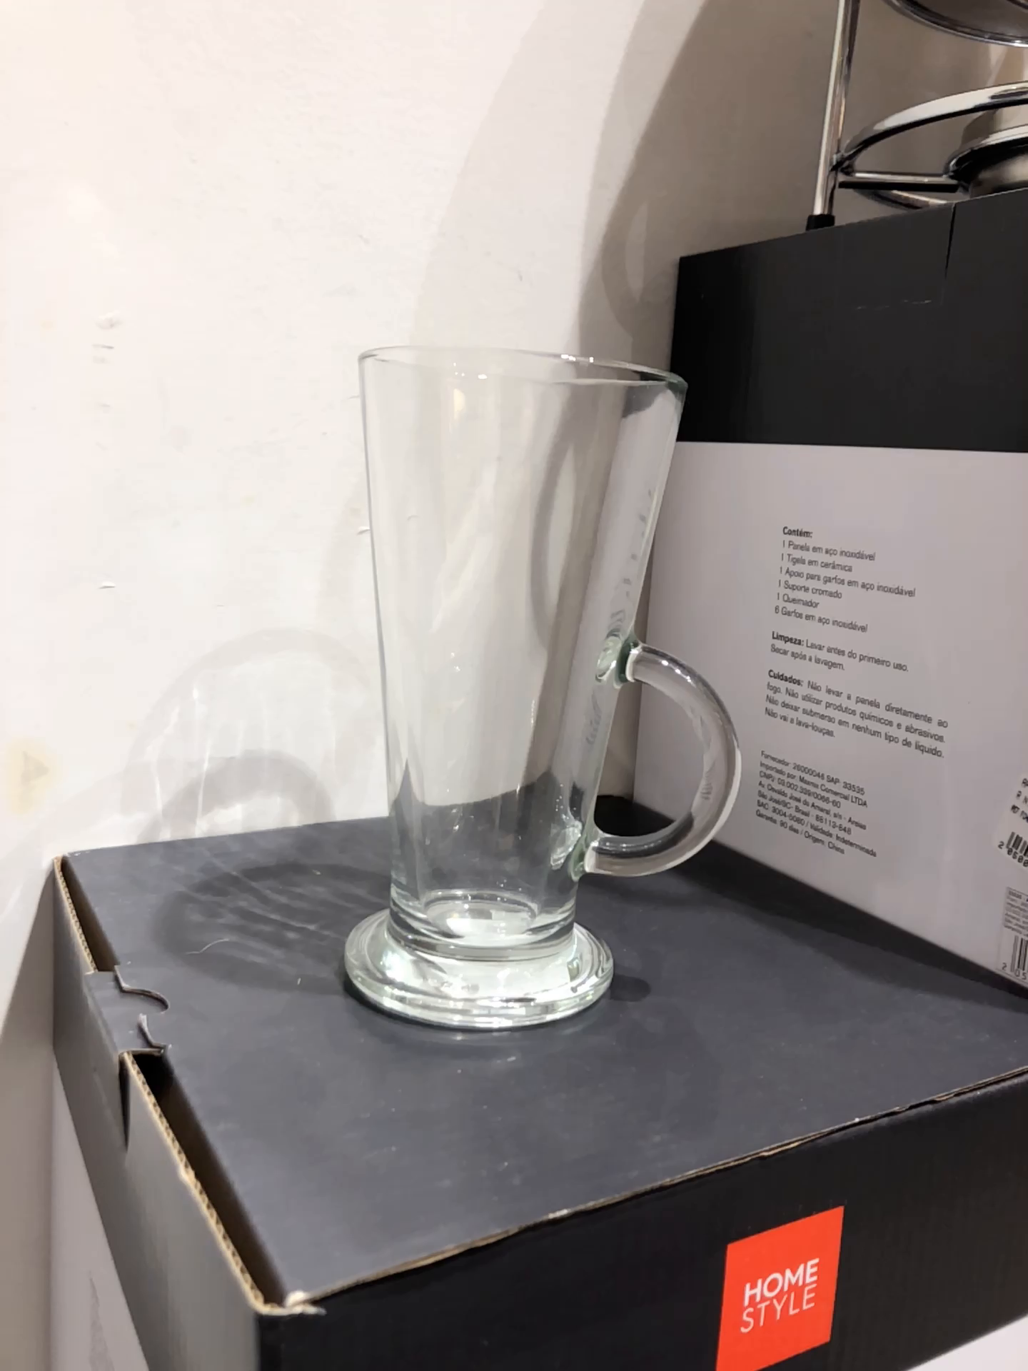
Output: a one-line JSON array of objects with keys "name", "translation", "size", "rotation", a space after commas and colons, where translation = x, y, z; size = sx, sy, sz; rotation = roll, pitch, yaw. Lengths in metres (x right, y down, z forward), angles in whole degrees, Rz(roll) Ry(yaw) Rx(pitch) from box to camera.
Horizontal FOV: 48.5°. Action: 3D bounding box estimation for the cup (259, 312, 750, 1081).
[{"name": "cup", "translation": [0.001, -0.003, 0.271], "size": [0.090, 0.149, 0.080], "rotation": [7, 11, 11]}]
